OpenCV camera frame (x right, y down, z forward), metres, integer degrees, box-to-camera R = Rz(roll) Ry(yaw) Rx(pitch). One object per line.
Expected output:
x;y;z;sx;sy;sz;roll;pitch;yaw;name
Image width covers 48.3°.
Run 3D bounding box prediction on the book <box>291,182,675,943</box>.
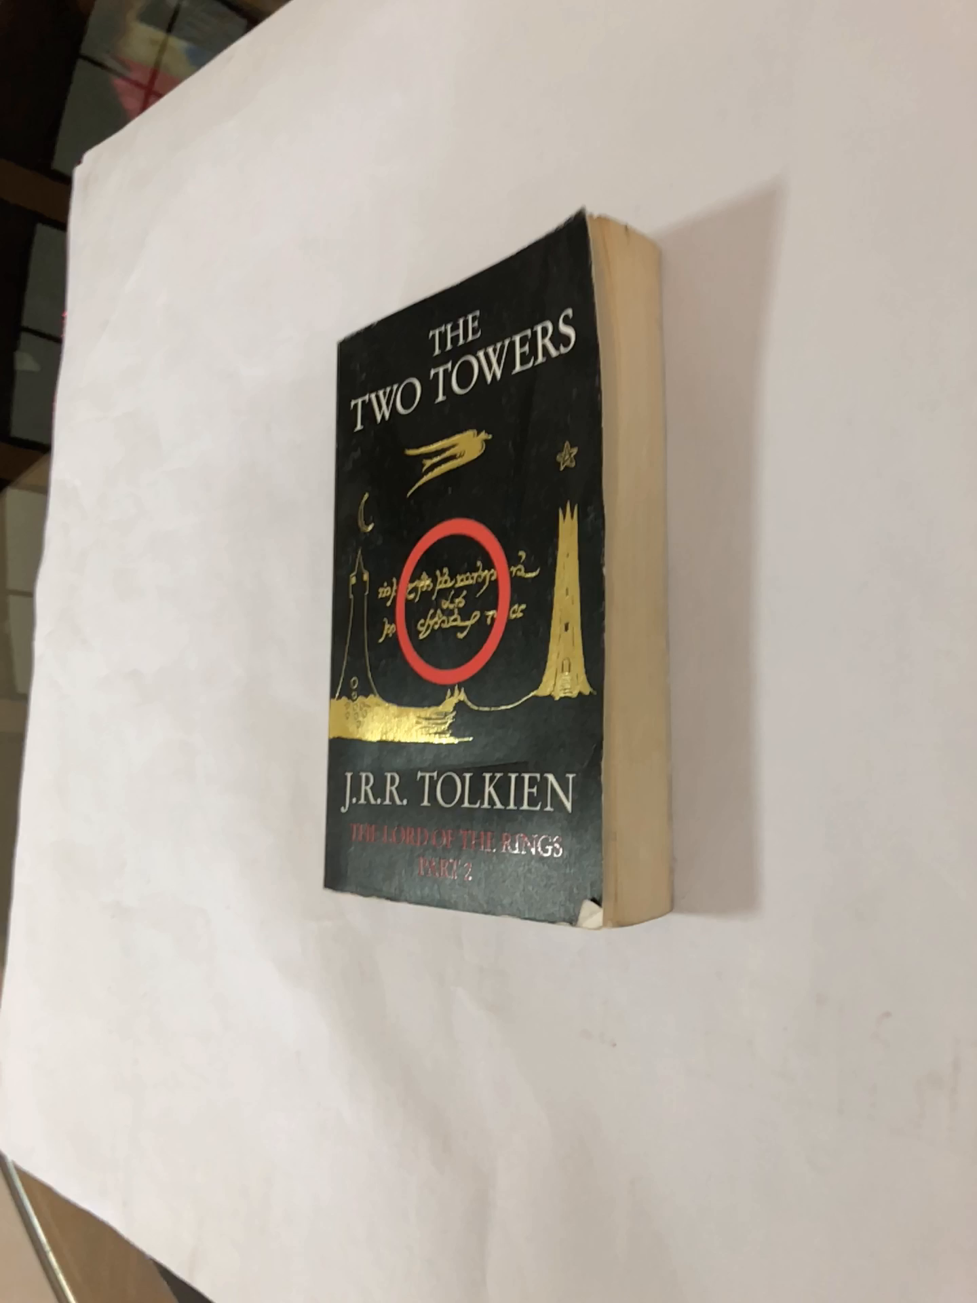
-0.006;-0.020;0.336;0.131;0.030;0.200;-7;79;44;book
